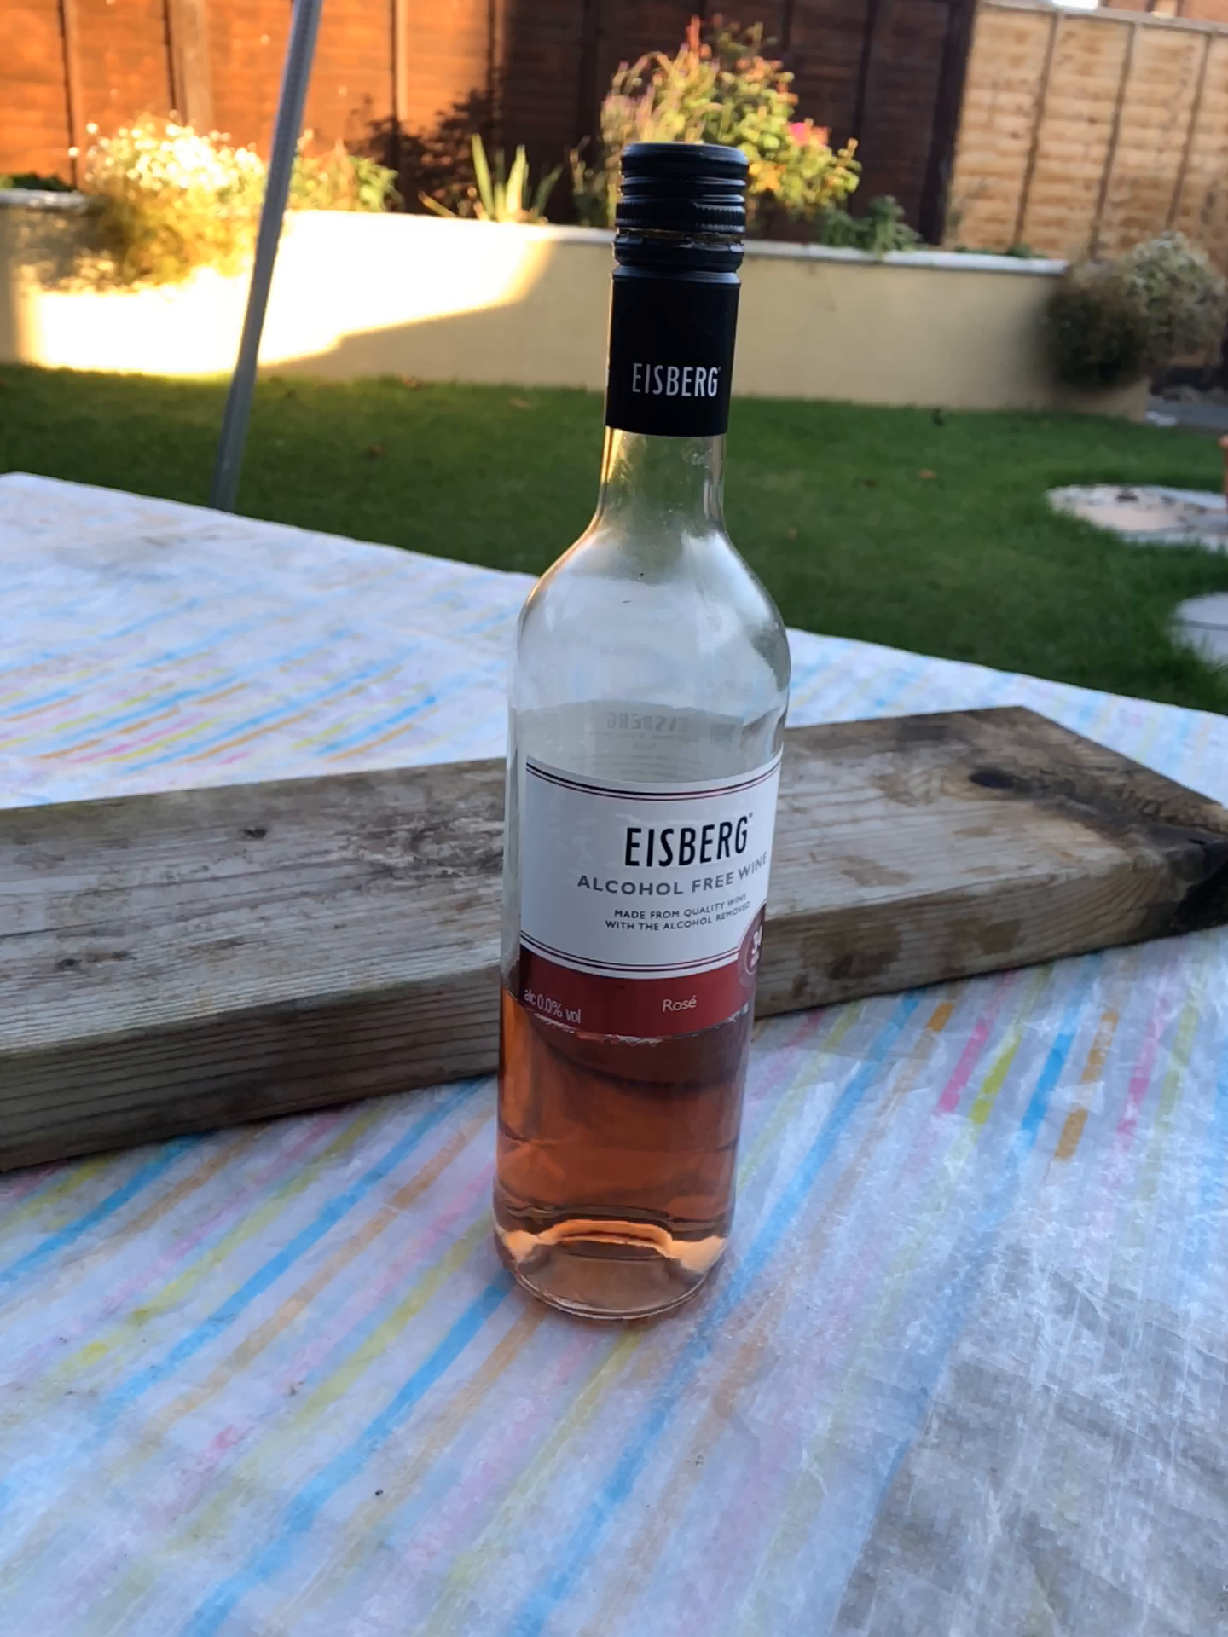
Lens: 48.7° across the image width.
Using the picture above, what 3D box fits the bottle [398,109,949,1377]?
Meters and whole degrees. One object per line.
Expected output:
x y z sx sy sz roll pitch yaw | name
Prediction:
0.002 -0.011 0.341 0.090 0.288 0.080 -7 25 -23 | bottle
